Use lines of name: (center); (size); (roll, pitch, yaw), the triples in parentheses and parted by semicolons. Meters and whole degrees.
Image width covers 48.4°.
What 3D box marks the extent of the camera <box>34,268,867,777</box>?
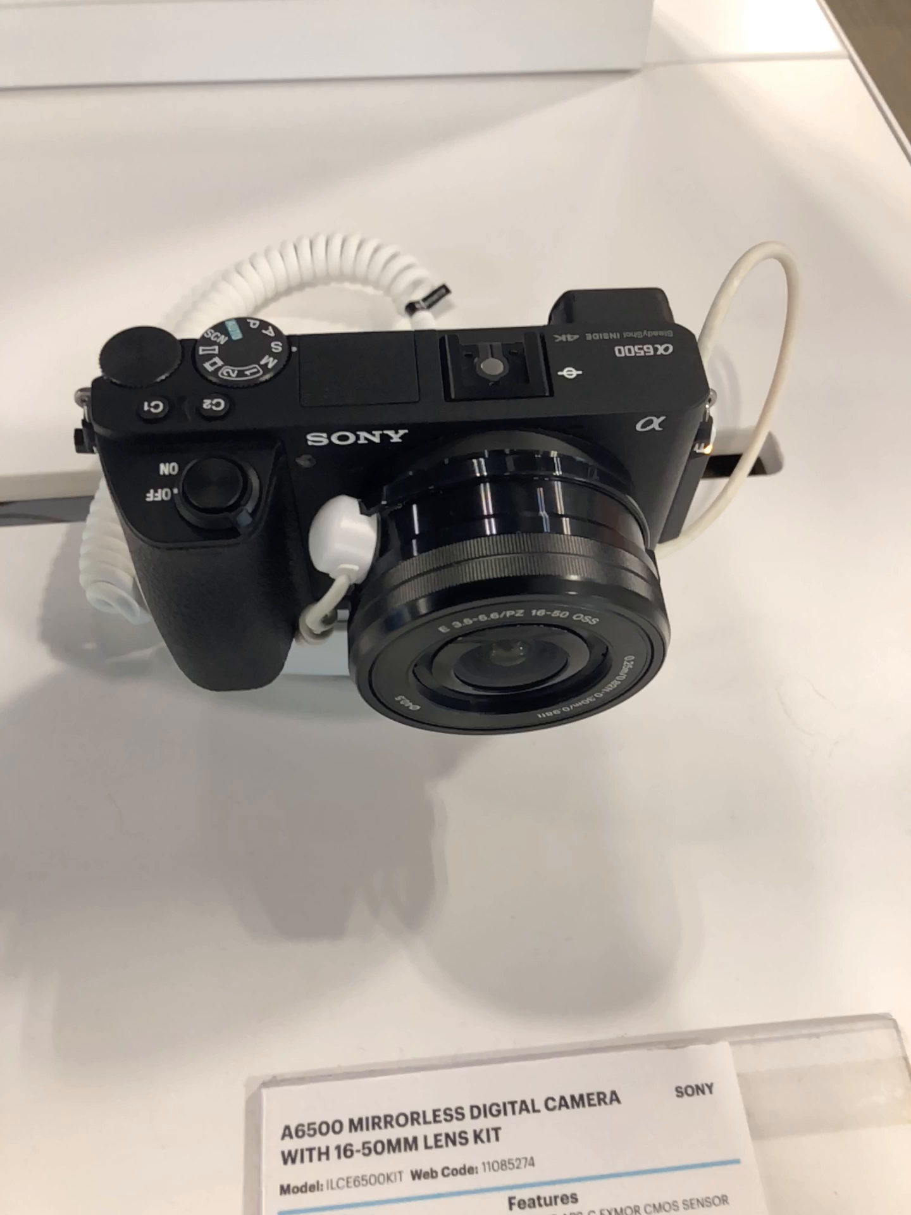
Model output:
camera: (-0.004, -0.017, 0.217); (0.140, 0.070, 0.070); (-5, 58, -6)
